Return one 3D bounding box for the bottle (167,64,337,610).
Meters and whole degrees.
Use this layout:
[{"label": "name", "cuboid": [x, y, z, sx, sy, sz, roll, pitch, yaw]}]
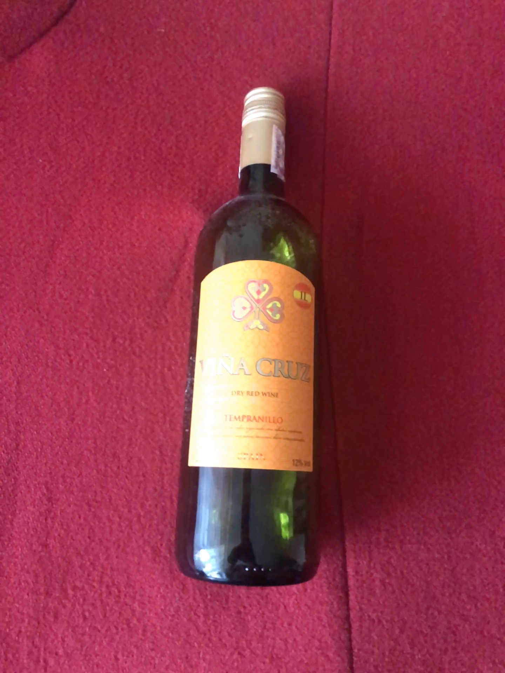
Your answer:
[{"label": "bottle", "cuboid": [0.004, -0.009, 0.335, 0.080, 0.070, 0.300, 2, 75, -2]}]
